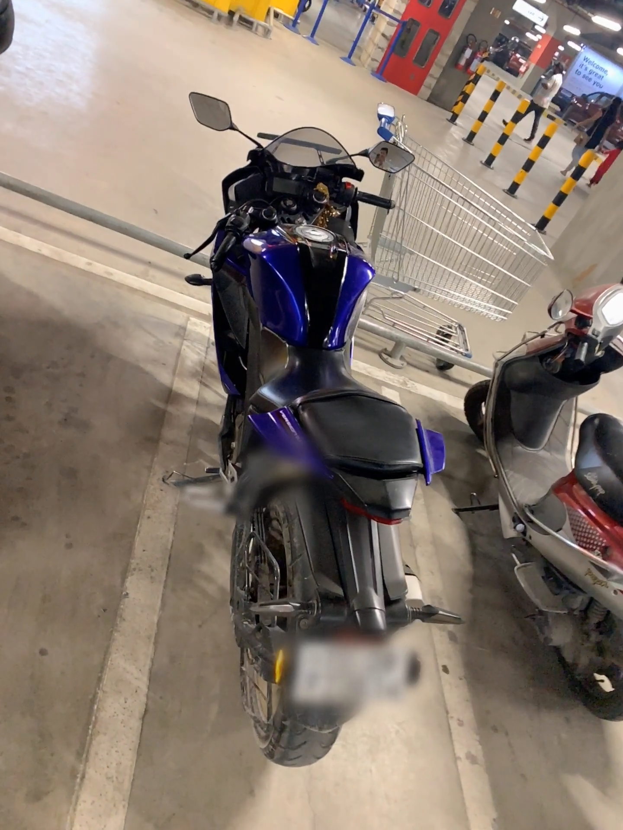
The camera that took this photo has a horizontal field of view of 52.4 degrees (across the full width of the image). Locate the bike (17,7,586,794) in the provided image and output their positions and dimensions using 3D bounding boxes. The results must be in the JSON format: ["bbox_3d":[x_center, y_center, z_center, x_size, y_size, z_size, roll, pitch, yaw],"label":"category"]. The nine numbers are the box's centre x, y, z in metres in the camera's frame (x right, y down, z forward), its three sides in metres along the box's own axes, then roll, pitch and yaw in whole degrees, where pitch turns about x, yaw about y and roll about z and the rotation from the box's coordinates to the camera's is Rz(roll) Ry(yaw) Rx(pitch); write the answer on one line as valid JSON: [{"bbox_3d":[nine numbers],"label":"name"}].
[{"bbox_3d":[-0.284,-0.129,1.654,0.689,0.933,1.653,10,42,-28],"label":"bike"}]
